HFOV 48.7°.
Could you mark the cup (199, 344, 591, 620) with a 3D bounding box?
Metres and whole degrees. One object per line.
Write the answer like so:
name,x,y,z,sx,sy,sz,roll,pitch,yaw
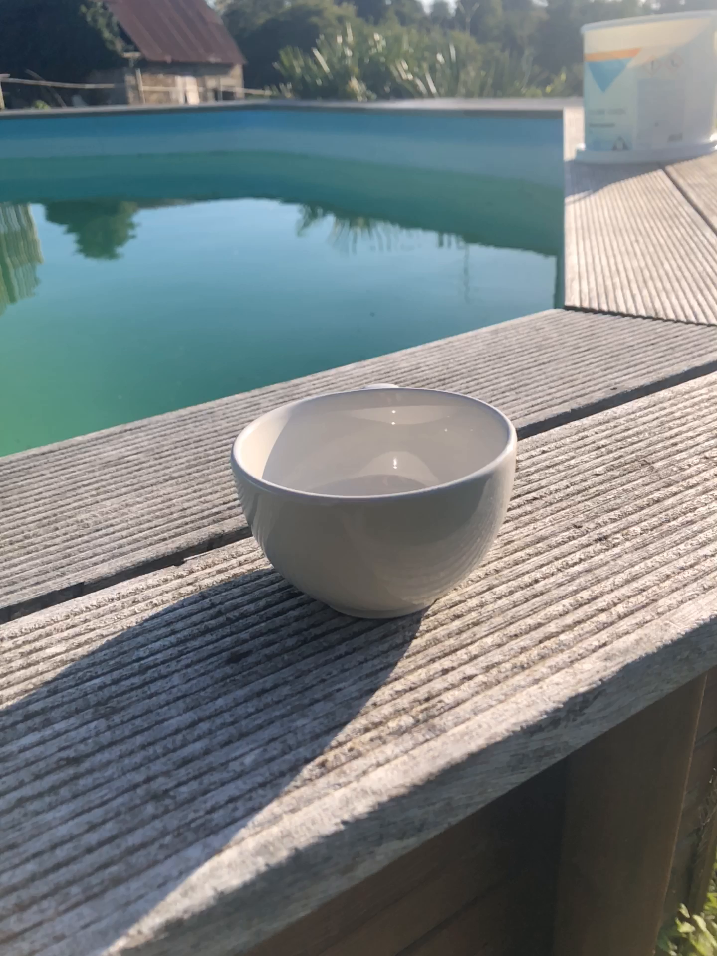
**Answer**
cup,0.011,-0.006,0.273,0.104,0.038,0.121,-2,28,2
